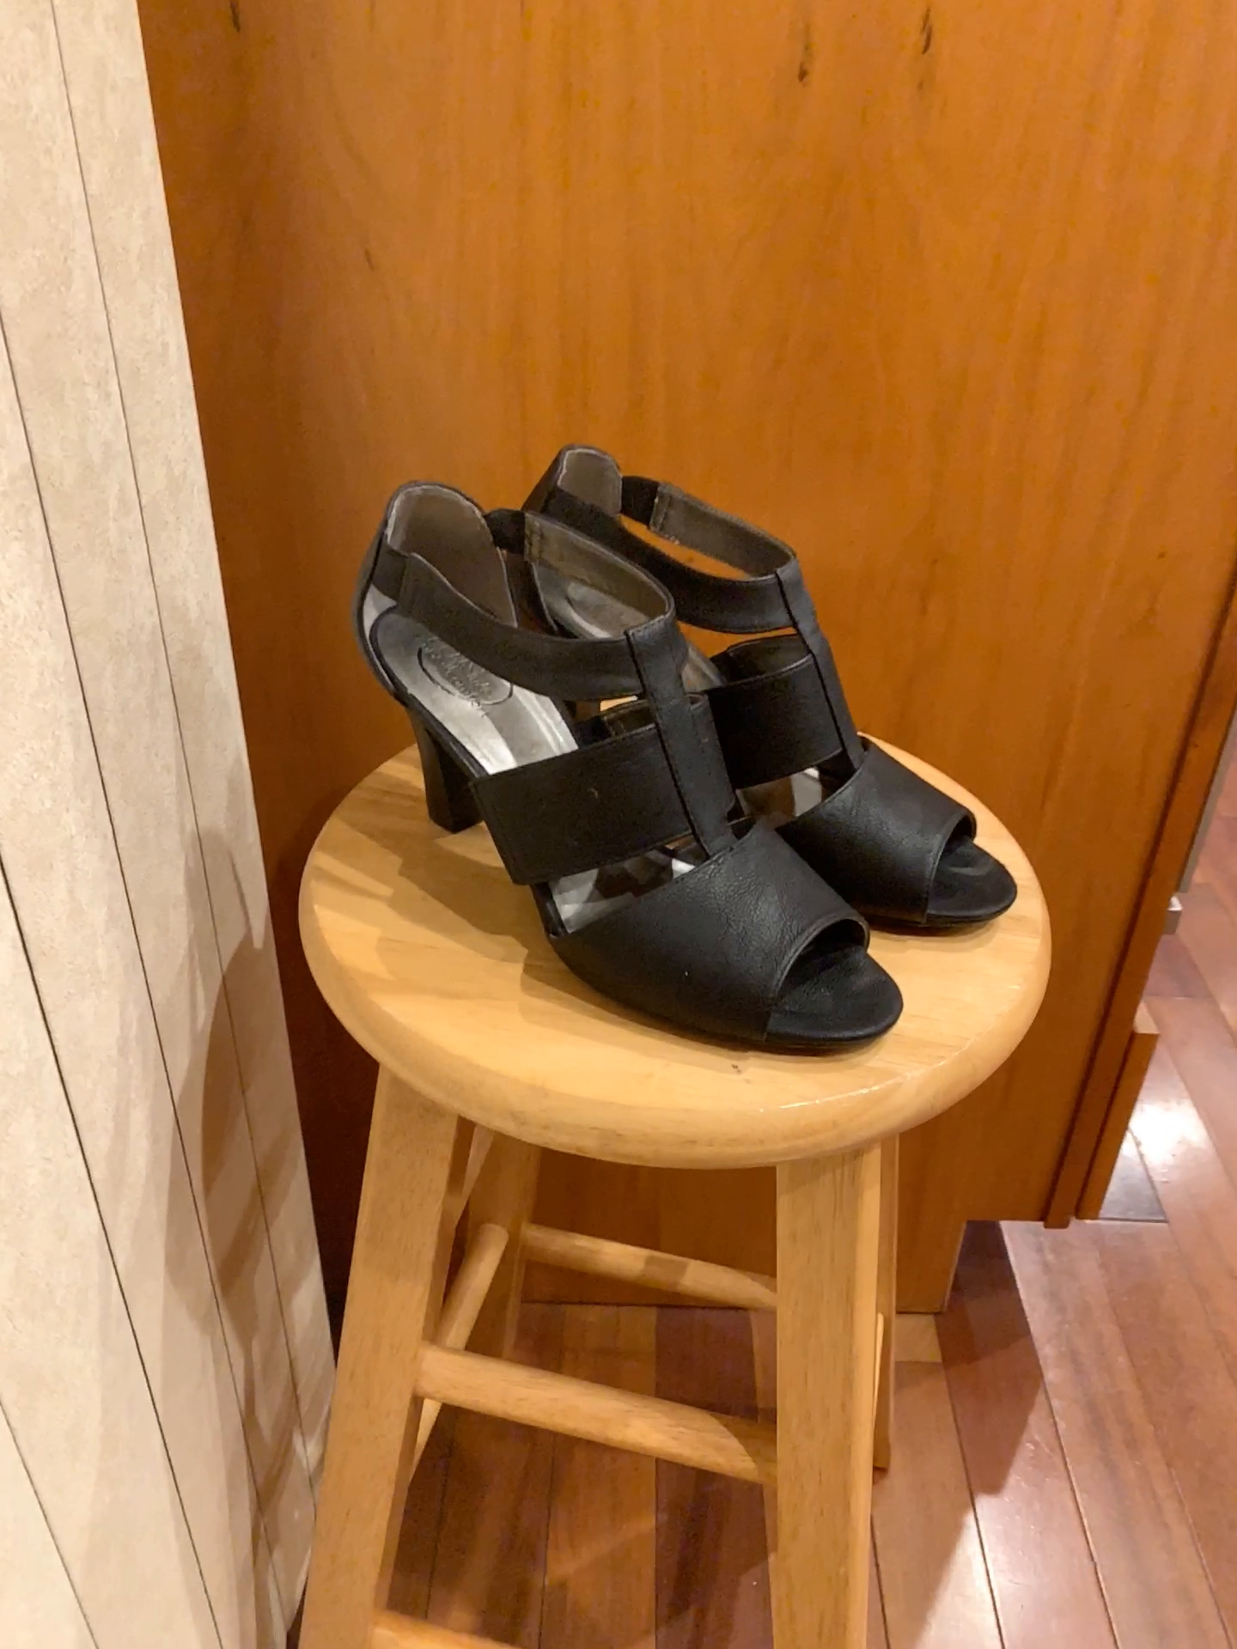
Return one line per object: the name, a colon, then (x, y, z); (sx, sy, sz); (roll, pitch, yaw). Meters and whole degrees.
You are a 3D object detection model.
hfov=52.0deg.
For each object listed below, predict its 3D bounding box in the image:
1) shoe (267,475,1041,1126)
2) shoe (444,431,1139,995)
shoe: (0.000, -0.023, 0.442); (0.244, 0.125, 0.090); (24, 39, 30)
shoe: (0.056, -0.056, 0.498); (0.234, 0.130, 0.100); (22, 38, 29)
